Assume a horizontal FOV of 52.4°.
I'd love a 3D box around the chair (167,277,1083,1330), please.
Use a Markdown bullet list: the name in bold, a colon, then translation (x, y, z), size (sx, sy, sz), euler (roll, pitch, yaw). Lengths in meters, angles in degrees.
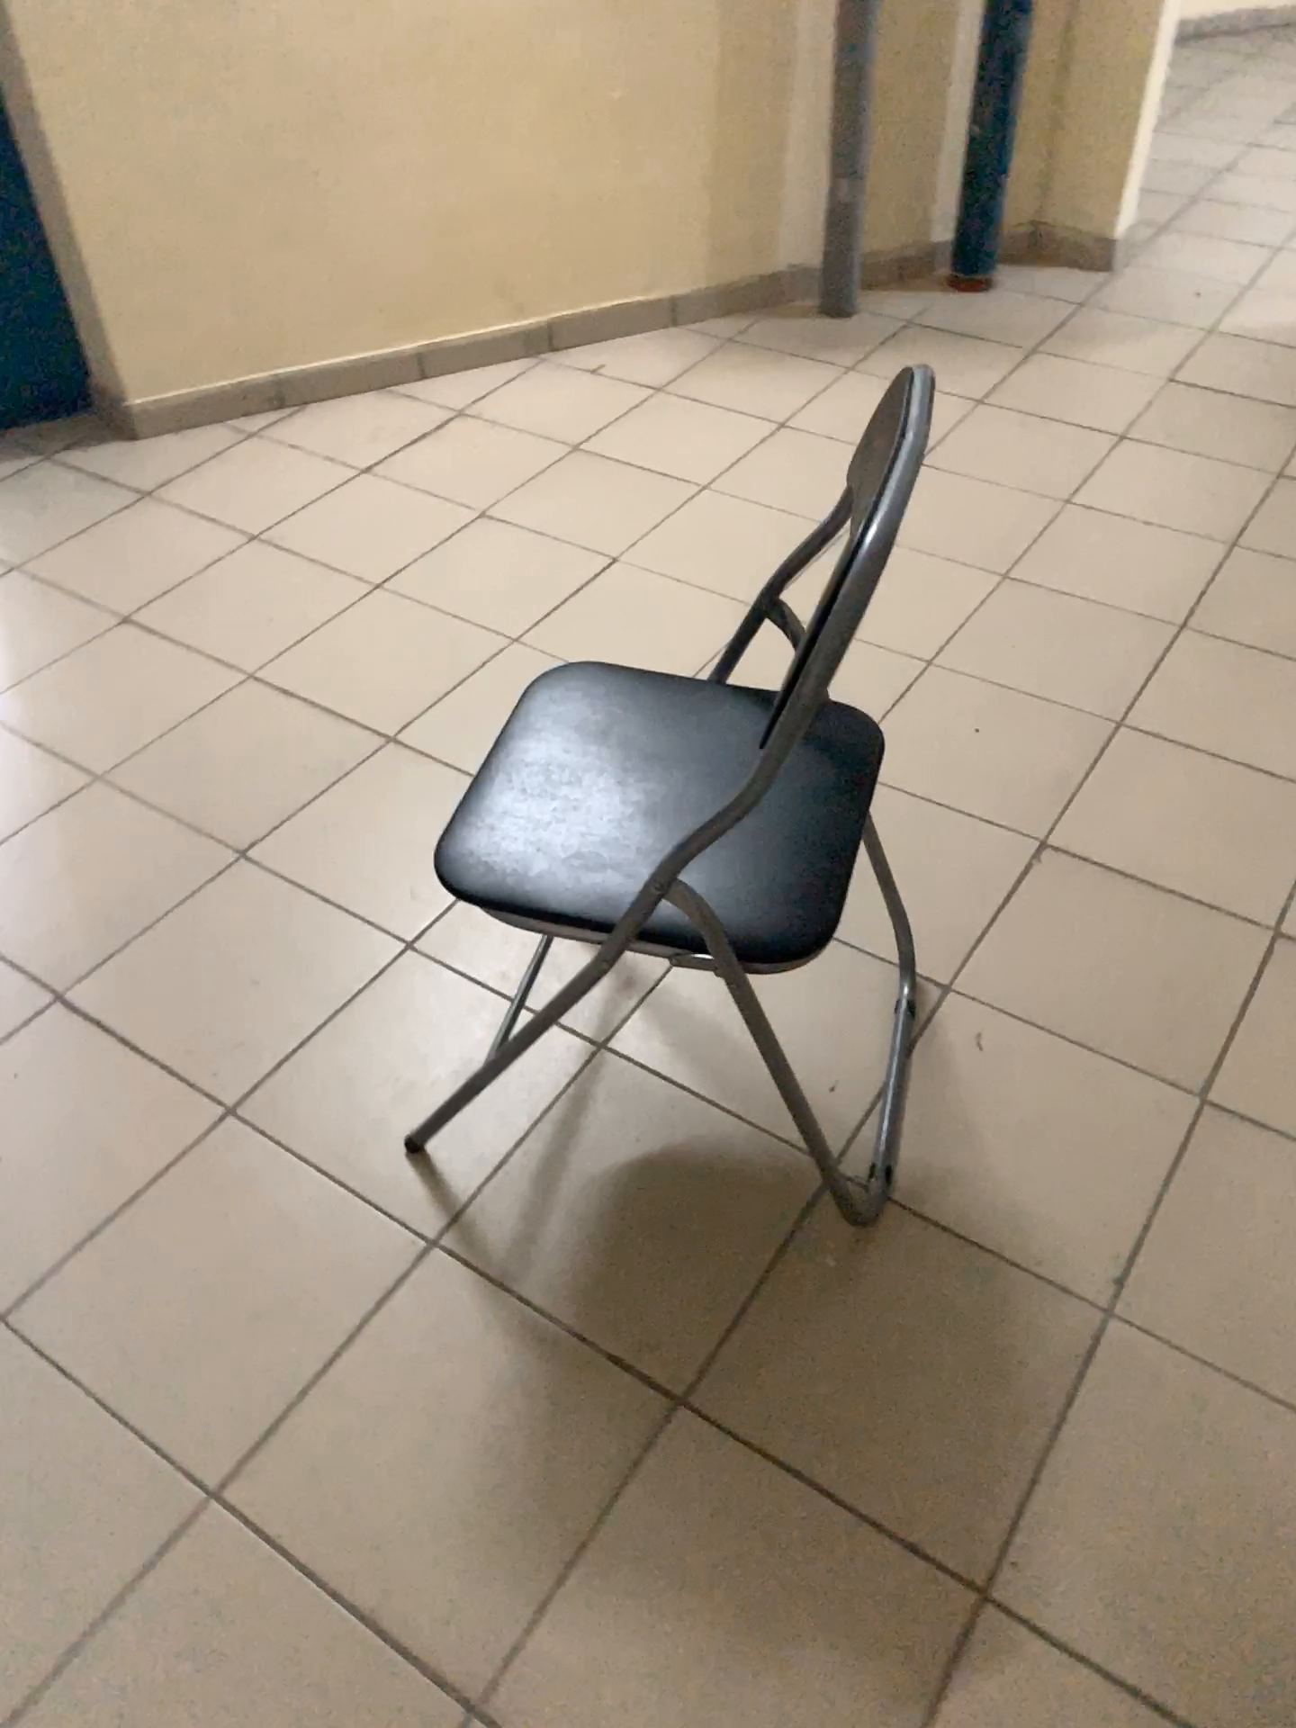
- **chair**: translation (0.037, -0.065, 1.265), size (0.560, 0.727, 0.572), euler (11, 44, 13)
